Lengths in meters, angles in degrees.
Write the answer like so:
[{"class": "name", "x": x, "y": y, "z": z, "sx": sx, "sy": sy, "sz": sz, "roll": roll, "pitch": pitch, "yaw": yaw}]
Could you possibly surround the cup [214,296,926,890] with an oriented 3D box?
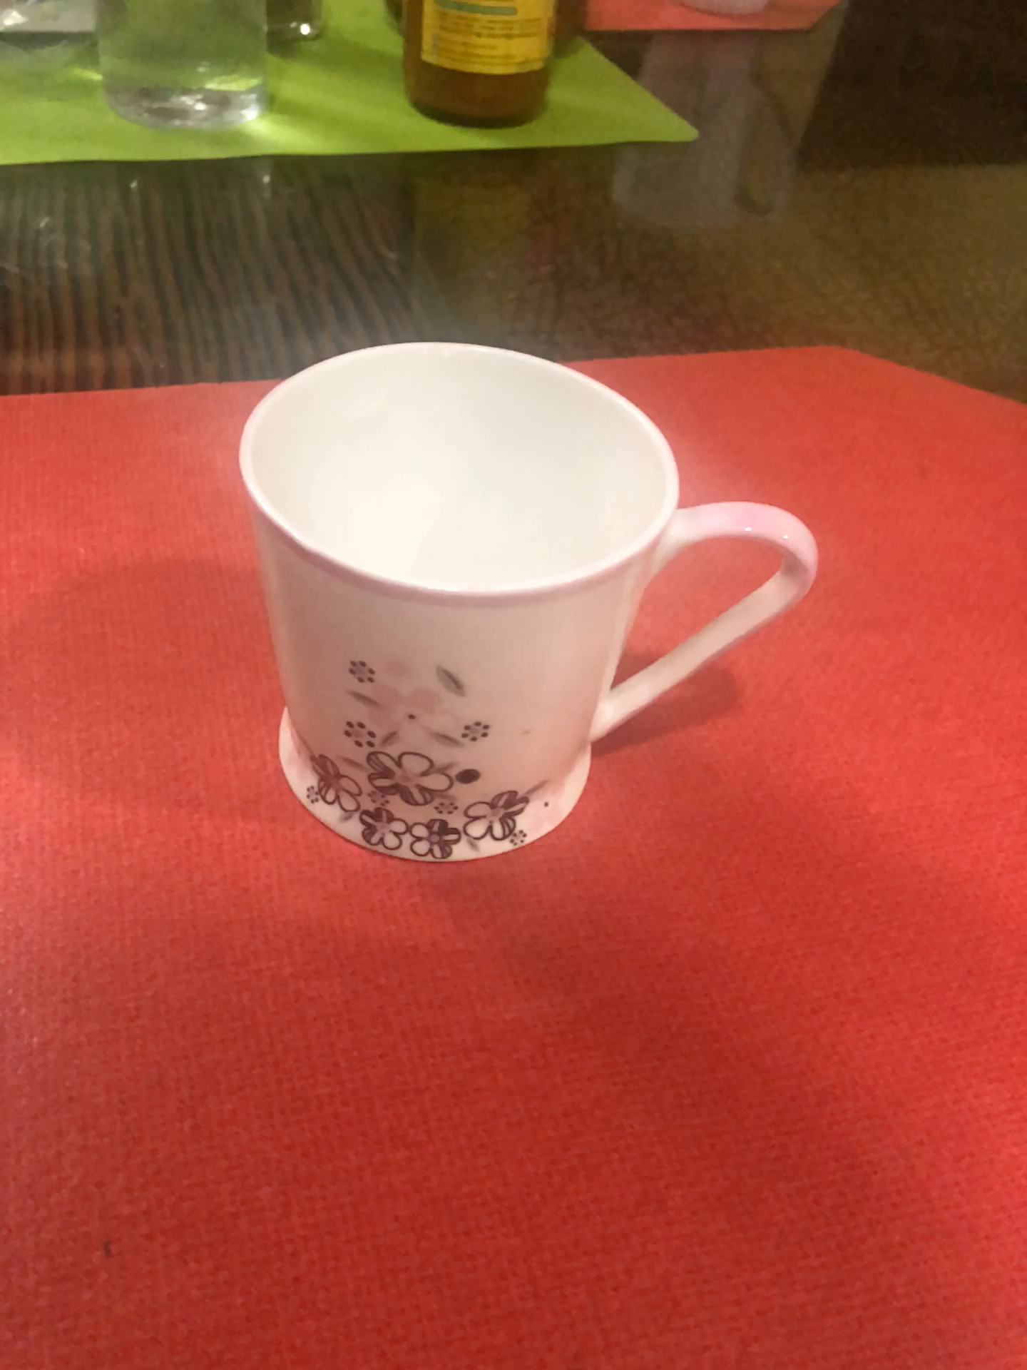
[{"class": "cup", "x": 0.004, "y": -0.015, "z": 0.213, "sx": 0.100, "sy": 0.080, "sz": 0.070, "roll": 1, "pitch": 44, "yaw": -7}]
